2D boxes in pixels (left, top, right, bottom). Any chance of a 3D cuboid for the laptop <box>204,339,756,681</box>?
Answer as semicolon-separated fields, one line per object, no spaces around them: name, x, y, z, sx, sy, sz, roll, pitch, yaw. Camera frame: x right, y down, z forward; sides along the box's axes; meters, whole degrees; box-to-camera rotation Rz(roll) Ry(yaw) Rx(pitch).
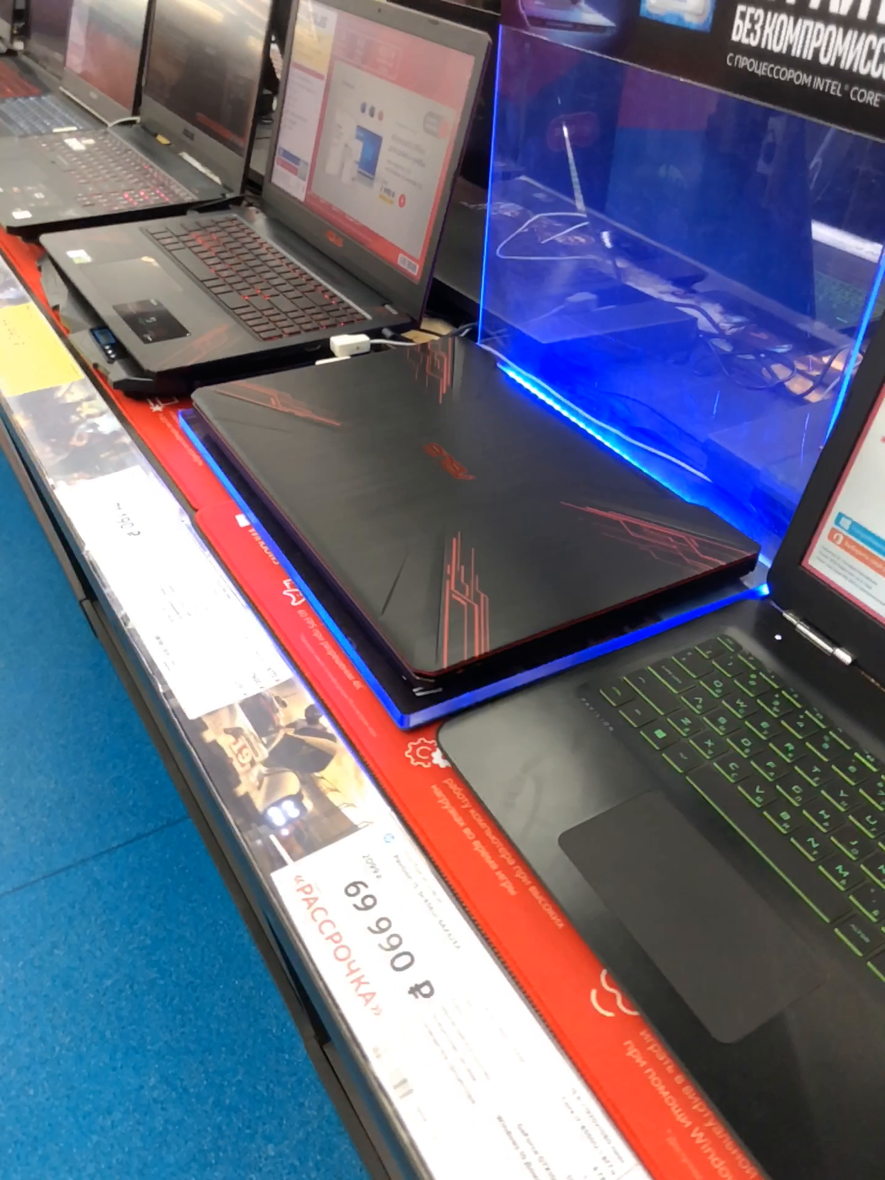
laptop;0.005;-0.090;0.707;0.243;0.006;0.374;-19;42;-24

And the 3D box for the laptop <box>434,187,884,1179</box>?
laptop;0.216;0.038;0.388;0.292;0.242;0.375;-19;43;-24

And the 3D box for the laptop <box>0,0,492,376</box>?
laptop;-0.197;-0.421;0.927;0.319;0.231;0.391;-19;42;-26
